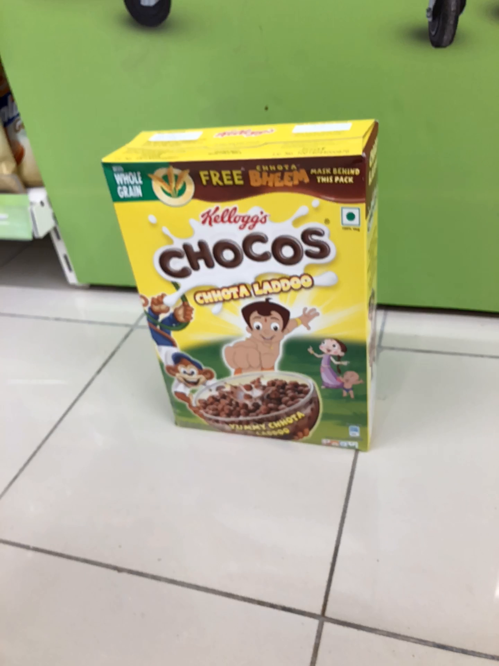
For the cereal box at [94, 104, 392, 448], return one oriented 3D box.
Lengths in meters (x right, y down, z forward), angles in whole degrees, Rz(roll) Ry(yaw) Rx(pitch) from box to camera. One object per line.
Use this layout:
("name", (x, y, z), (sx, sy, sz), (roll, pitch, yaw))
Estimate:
("cereal box", (0.011, -0.036, 0.450), (0.190, 0.258, 0.071), (4, 37, 17))
